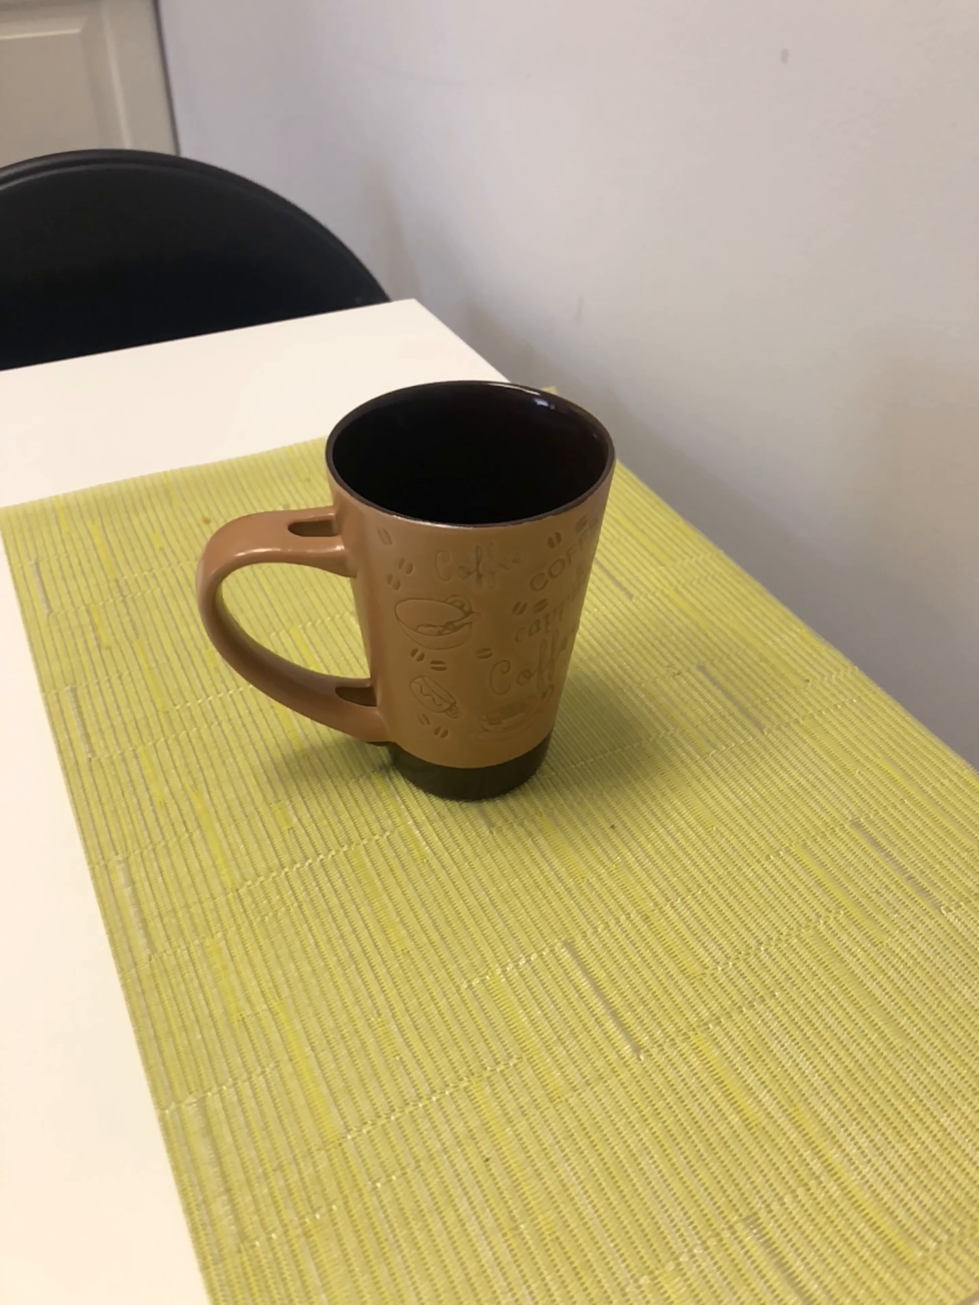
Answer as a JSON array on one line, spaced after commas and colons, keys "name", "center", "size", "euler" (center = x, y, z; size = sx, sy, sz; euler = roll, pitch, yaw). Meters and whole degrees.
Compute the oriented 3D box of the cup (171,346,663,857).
[{"name": "cup", "center": [-0.027, -0.019, 0.352], "size": [0.126, 0.119, 0.090], "euler": [-8, 41, -12]}]
